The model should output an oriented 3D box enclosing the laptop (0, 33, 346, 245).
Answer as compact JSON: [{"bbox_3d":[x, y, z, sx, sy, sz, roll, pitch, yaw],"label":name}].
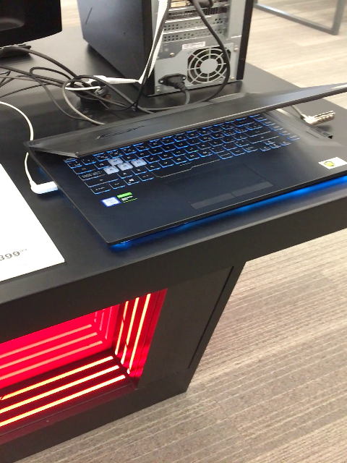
[{"bbox_3d":[0.012,-0.149,0.626,0.385,0.120,0.261,-20,47,-19],"label":"laptop"}]
